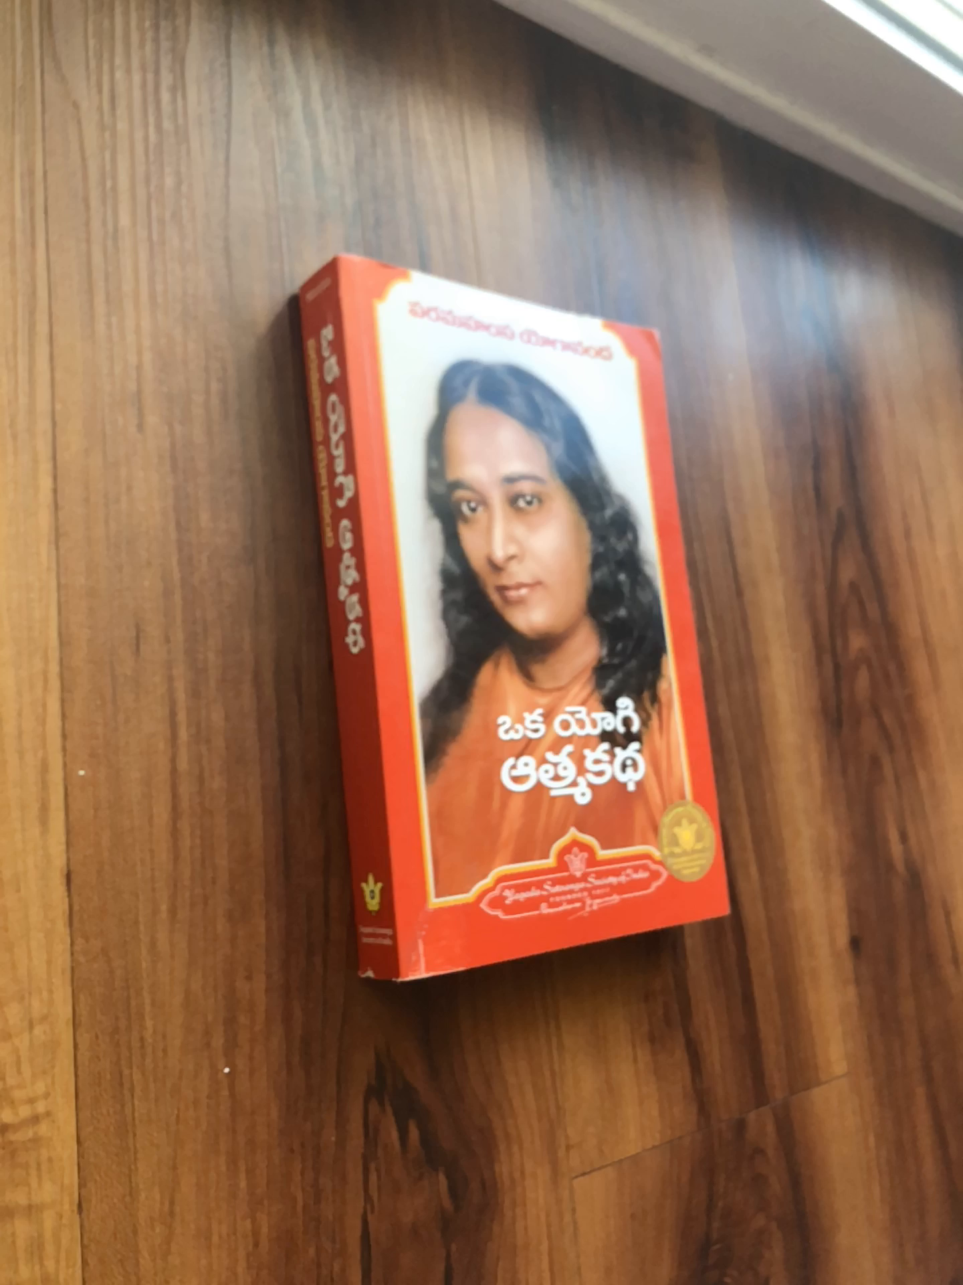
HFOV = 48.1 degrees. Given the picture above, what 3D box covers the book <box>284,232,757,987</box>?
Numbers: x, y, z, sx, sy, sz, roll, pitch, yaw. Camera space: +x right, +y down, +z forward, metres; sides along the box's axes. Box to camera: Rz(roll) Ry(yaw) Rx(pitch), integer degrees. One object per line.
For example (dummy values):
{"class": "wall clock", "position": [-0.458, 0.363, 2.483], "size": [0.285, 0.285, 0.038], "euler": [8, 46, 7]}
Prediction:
{"class": "book", "position": [0.016, -0.011, 0.355], "size": [0.148, 0.030, 0.214], "euler": [1, 79, -36]}
